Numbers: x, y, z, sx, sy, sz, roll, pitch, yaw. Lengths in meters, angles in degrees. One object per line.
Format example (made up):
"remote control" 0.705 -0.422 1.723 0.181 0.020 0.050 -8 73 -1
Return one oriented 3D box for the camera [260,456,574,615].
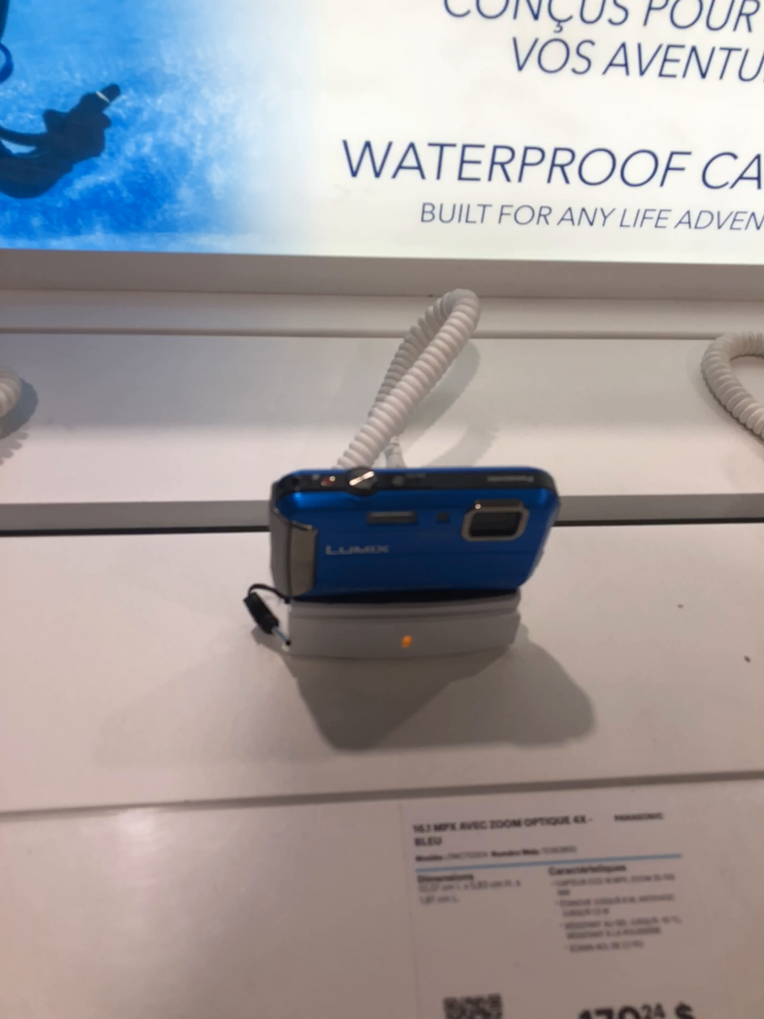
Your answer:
"camera" 0.010 0.010 0.306 0.106 0.060 0.020 -2 47 -7
